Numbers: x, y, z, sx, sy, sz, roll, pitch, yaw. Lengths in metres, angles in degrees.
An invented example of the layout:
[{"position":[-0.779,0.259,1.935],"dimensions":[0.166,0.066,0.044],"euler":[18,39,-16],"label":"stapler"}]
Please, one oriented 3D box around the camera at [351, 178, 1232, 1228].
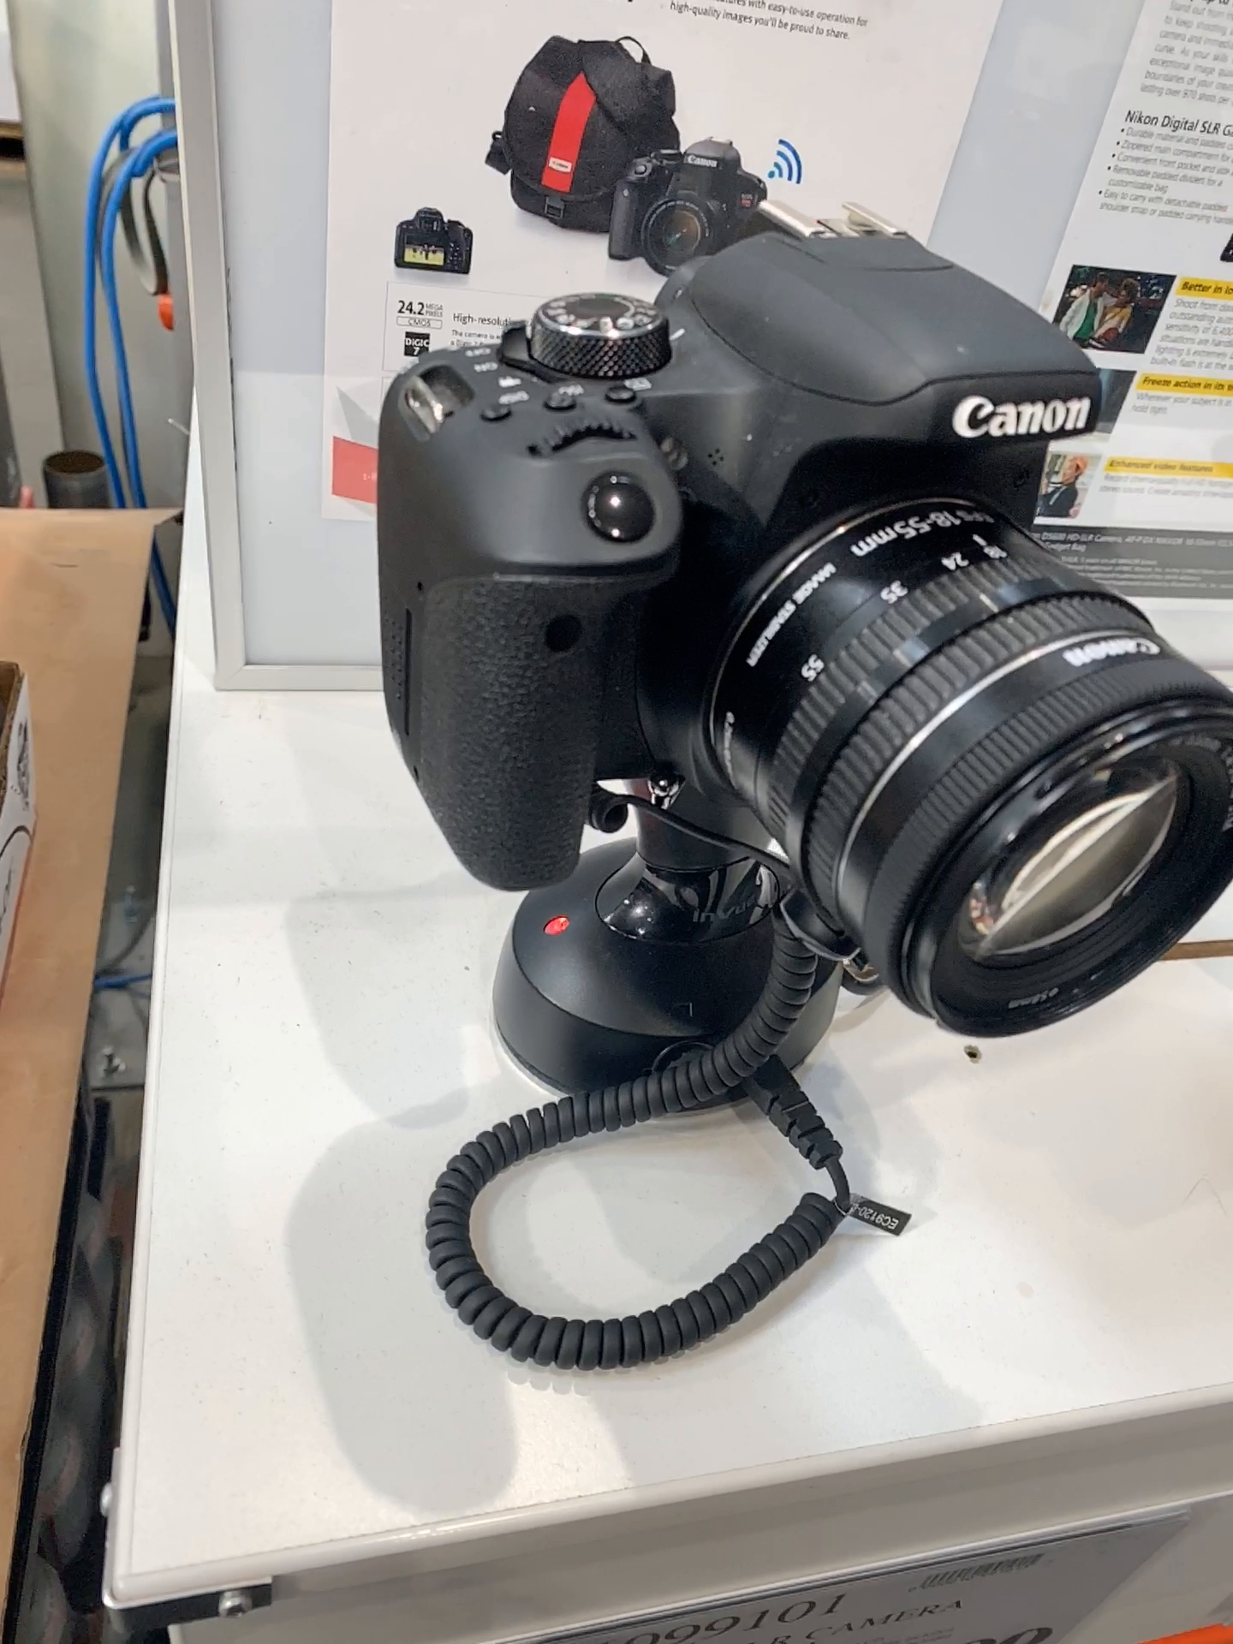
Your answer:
[{"position":[0.041,-0.032,0.198],"dimensions":[0.134,0.089,0.121],"euler":[-9,42,-23],"label":"camera"}]
